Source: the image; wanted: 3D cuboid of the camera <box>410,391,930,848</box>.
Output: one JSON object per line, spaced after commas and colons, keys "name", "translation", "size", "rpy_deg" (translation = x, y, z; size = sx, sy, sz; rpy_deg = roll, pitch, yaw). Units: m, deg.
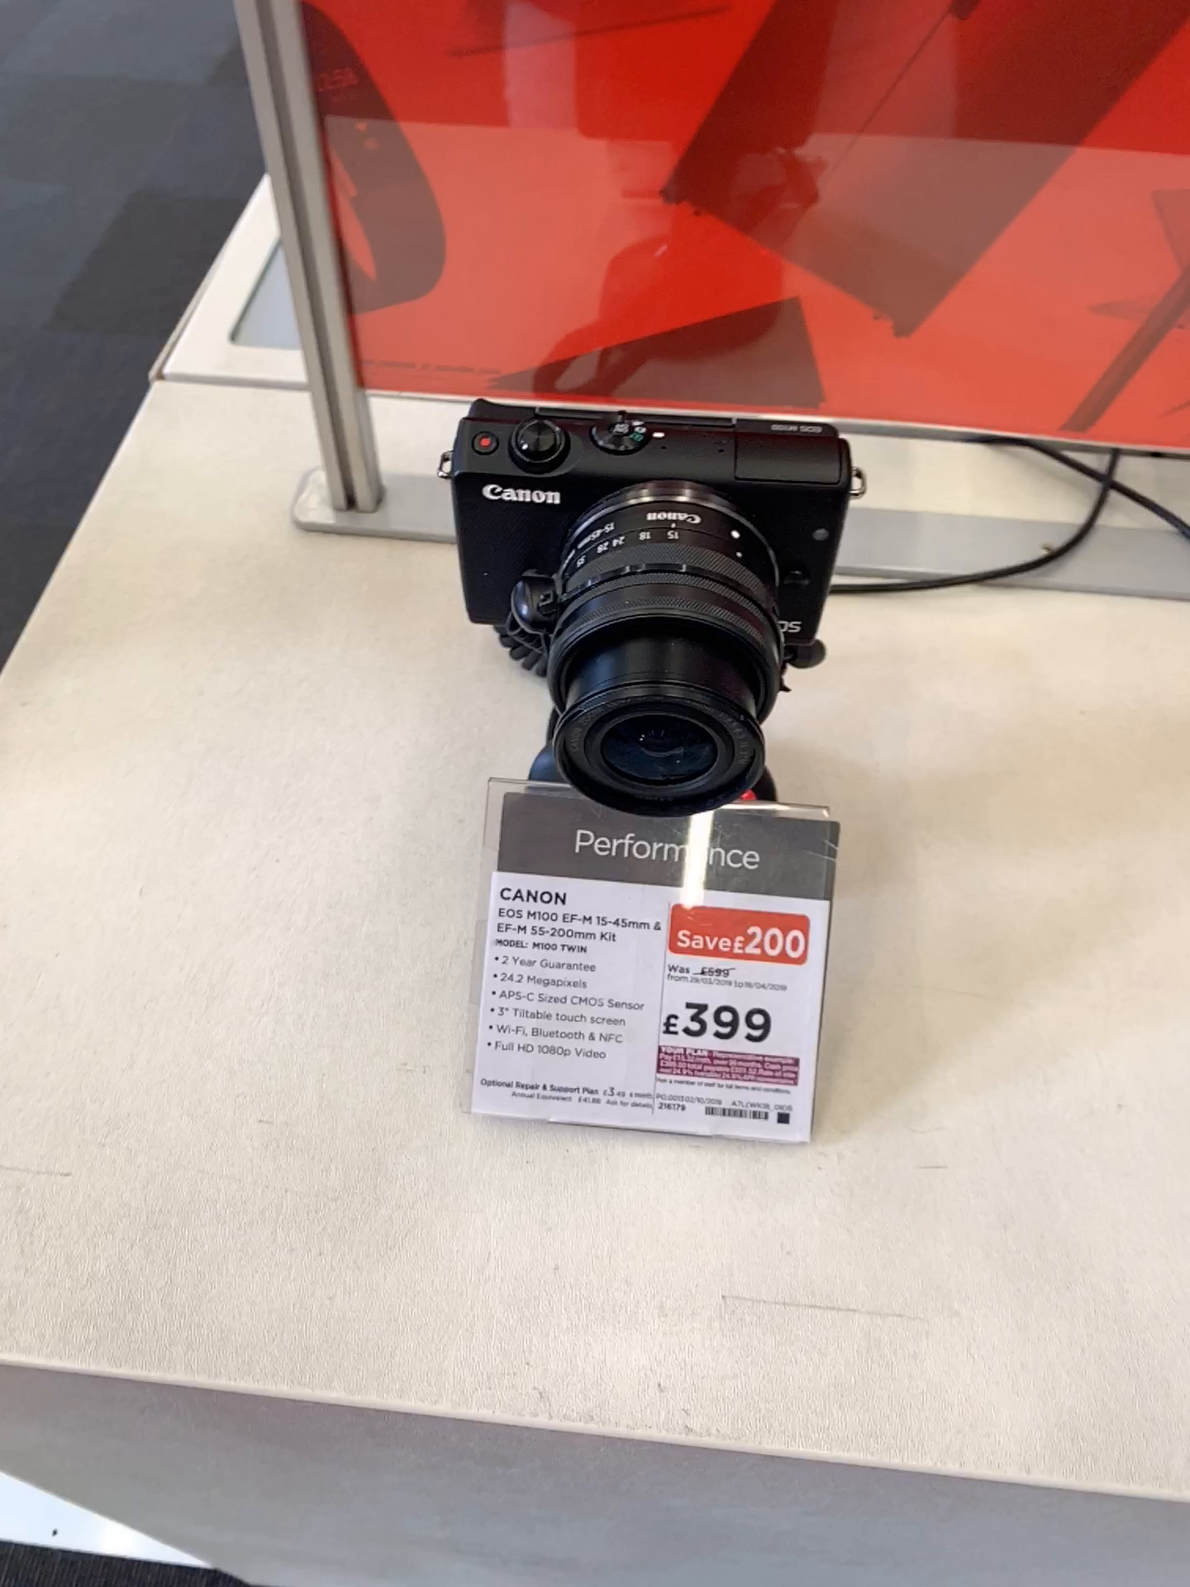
{"name": "camera", "translation": [0.019, -0.049, 0.341], "size": [0.120, 0.069, 0.101], "rpy_deg": [3, 52, 1]}
